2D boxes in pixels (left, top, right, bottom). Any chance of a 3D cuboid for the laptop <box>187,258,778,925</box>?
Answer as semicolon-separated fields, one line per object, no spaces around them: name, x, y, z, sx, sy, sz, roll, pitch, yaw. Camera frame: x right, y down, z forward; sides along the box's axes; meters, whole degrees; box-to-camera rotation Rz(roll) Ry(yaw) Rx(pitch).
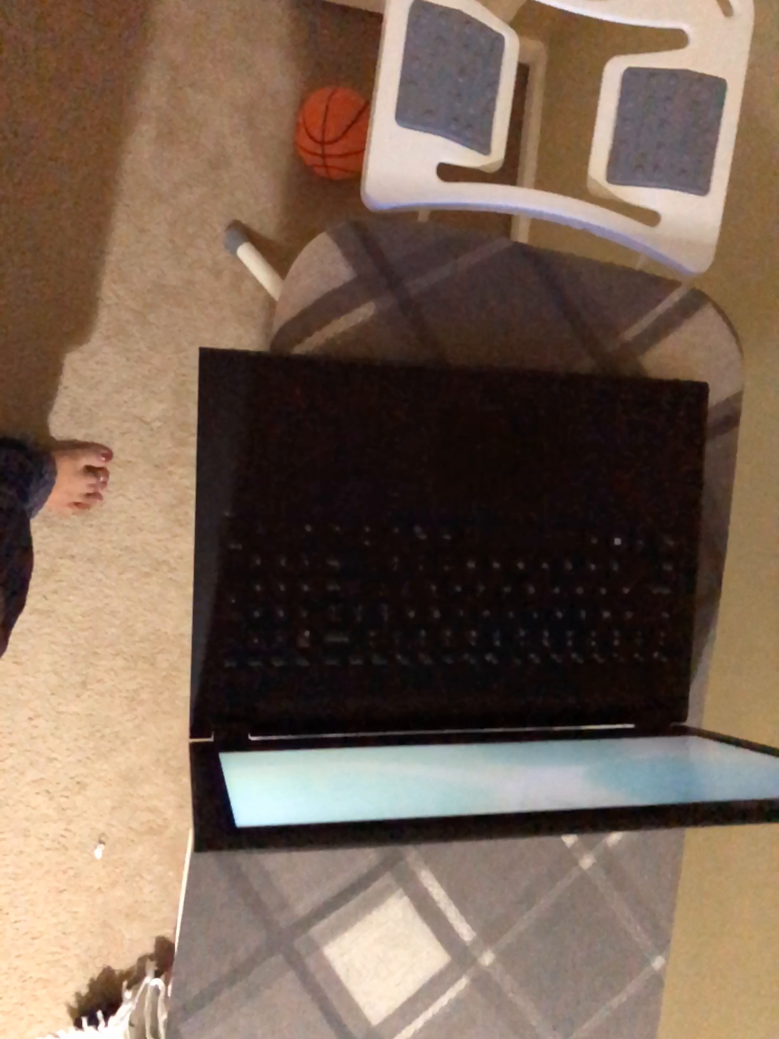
laptop;0.076;0.027;0.469;0.352;0.232;0.247;2;92;-13
